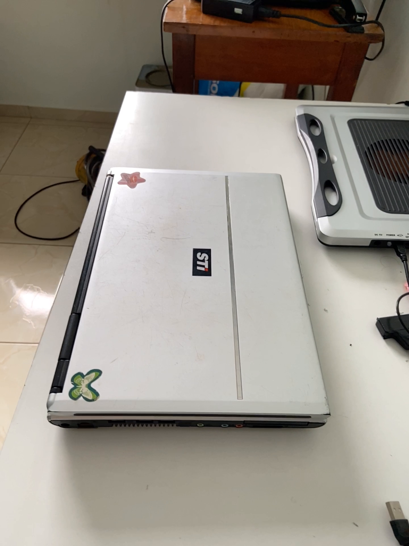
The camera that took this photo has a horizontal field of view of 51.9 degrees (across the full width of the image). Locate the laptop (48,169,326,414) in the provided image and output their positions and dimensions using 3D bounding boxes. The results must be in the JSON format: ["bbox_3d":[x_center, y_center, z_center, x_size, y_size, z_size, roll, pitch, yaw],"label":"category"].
[{"bbox_3d":[-0.011,-0.010,0.467,0.234,0.004,0.340,2,49,-2],"label":"laptop"}]
